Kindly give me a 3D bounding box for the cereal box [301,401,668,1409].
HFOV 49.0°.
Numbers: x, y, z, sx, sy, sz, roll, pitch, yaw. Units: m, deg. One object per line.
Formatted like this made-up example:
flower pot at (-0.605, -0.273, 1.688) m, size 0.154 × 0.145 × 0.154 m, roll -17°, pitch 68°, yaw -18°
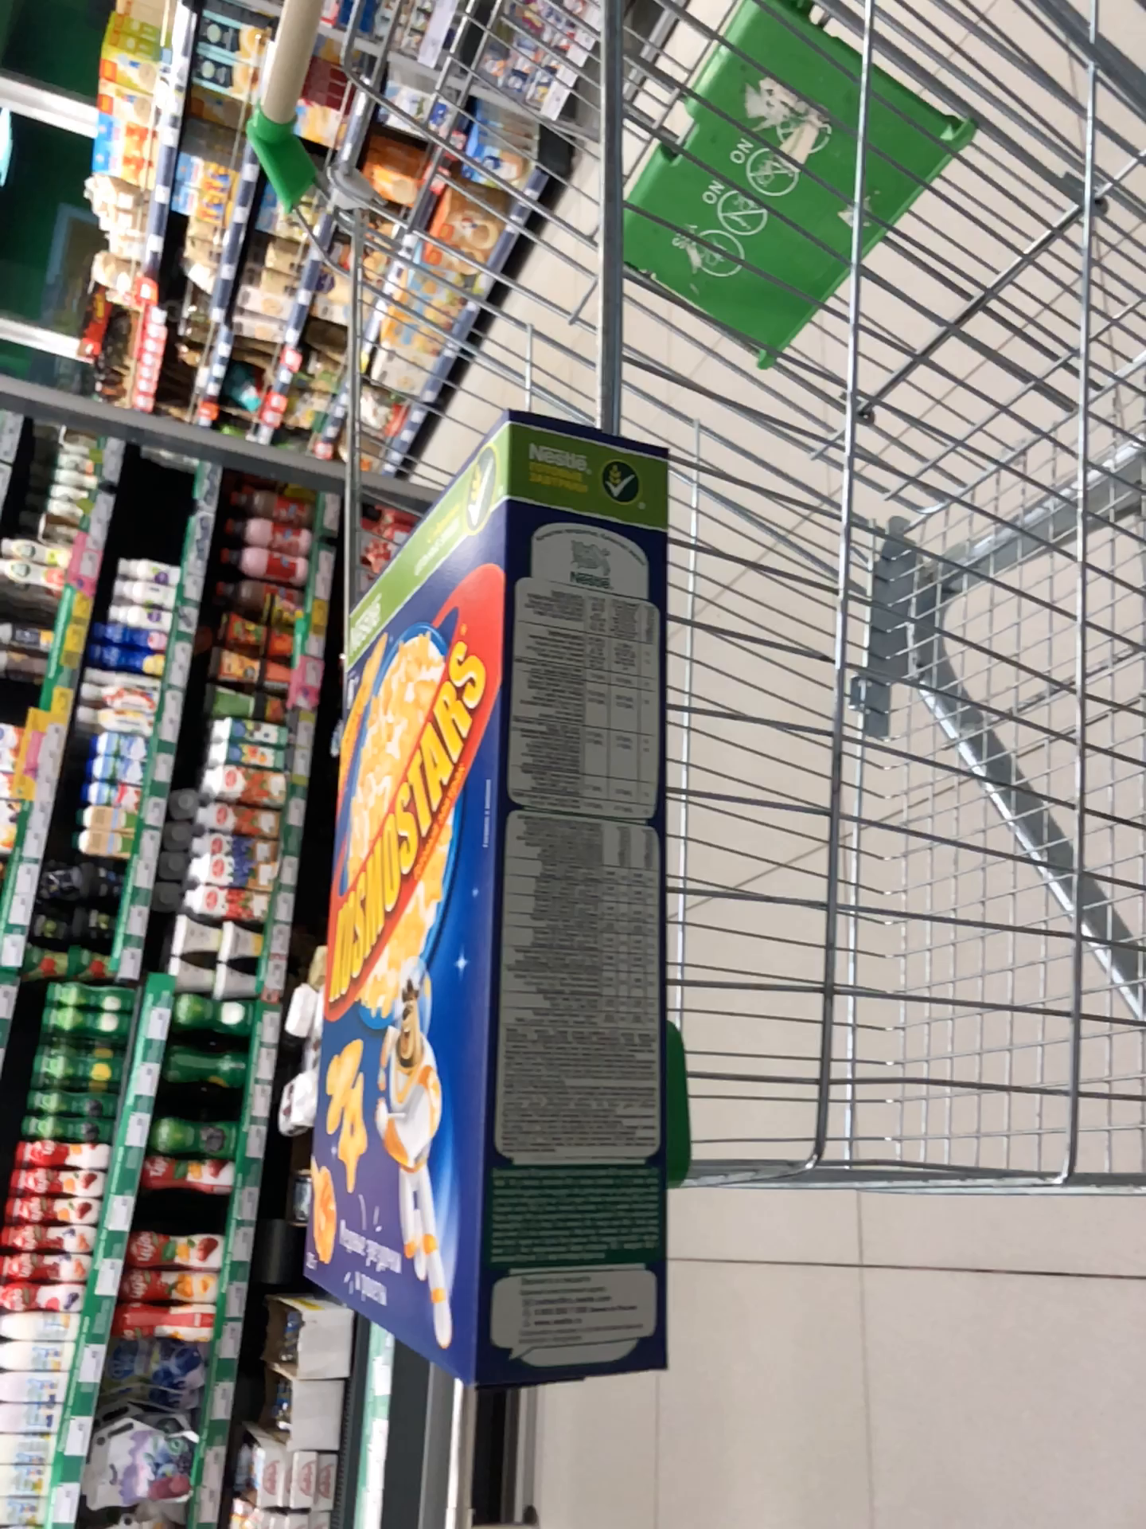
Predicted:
cereal box at (-0.038, 0.050, 0.450) m, size 0.201 × 0.060 × 0.280 m, roll 150°, pitch 124°, yaw -64°
